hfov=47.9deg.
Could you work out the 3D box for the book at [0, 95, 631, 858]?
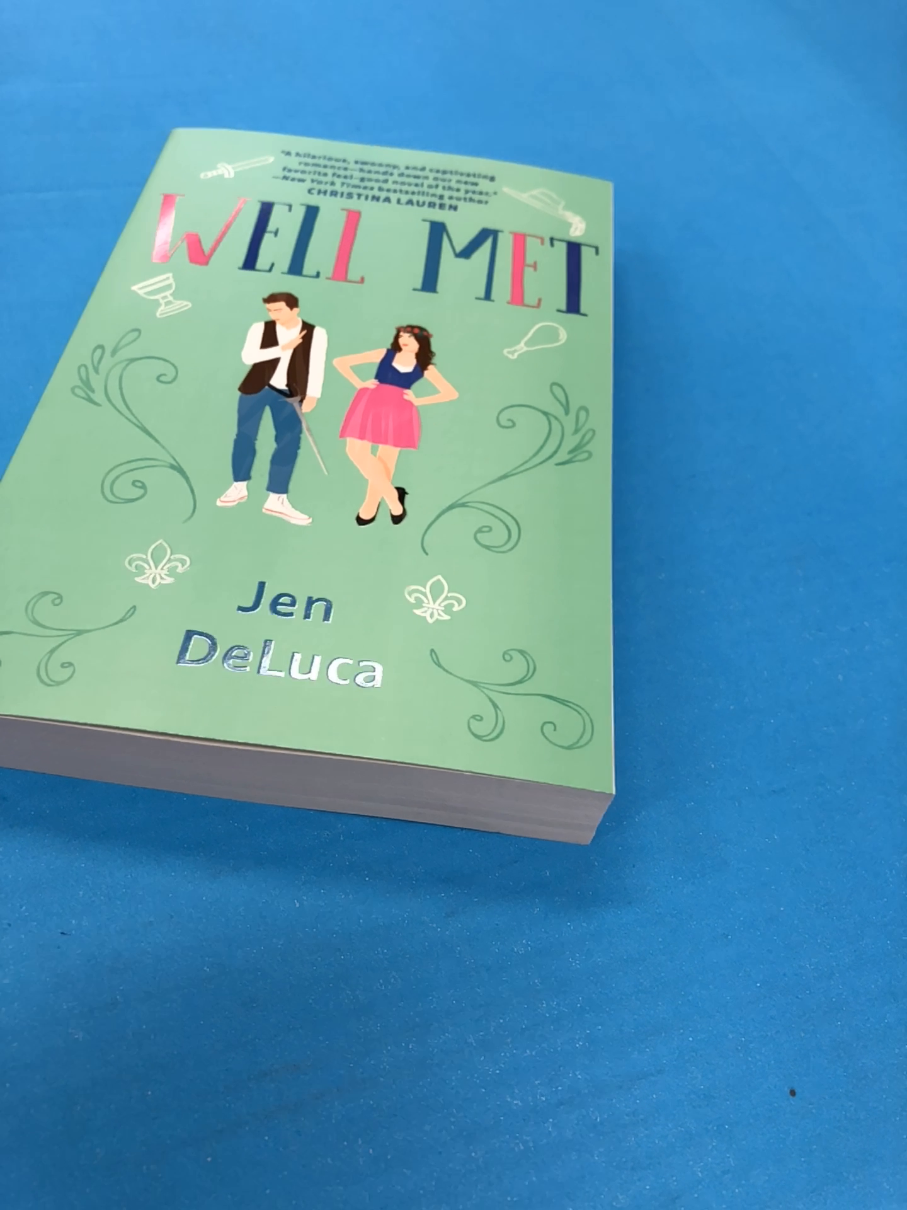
[{"bbox_3d":[-0.031,-0.052,0.264,0.146,0.030,0.216,8,53,-2],"label":"book"}]
